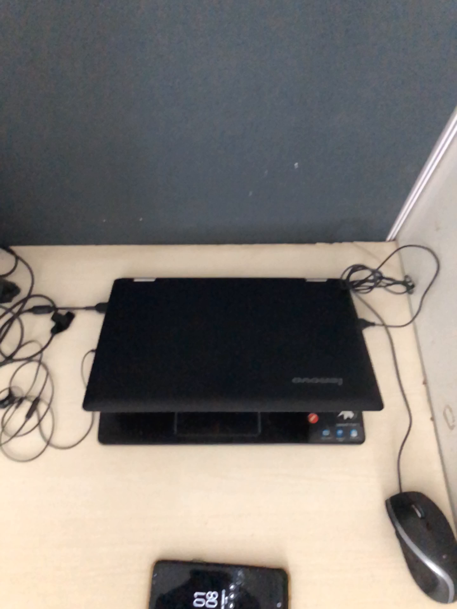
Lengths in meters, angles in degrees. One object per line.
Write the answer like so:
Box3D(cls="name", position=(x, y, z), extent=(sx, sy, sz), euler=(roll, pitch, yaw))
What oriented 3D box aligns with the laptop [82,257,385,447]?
Box3D(cls="laptop", position=(0.005, 0.057, 0.631), extent=(0.326, 0.083, 0.220), euler=(0, 63, -1))
